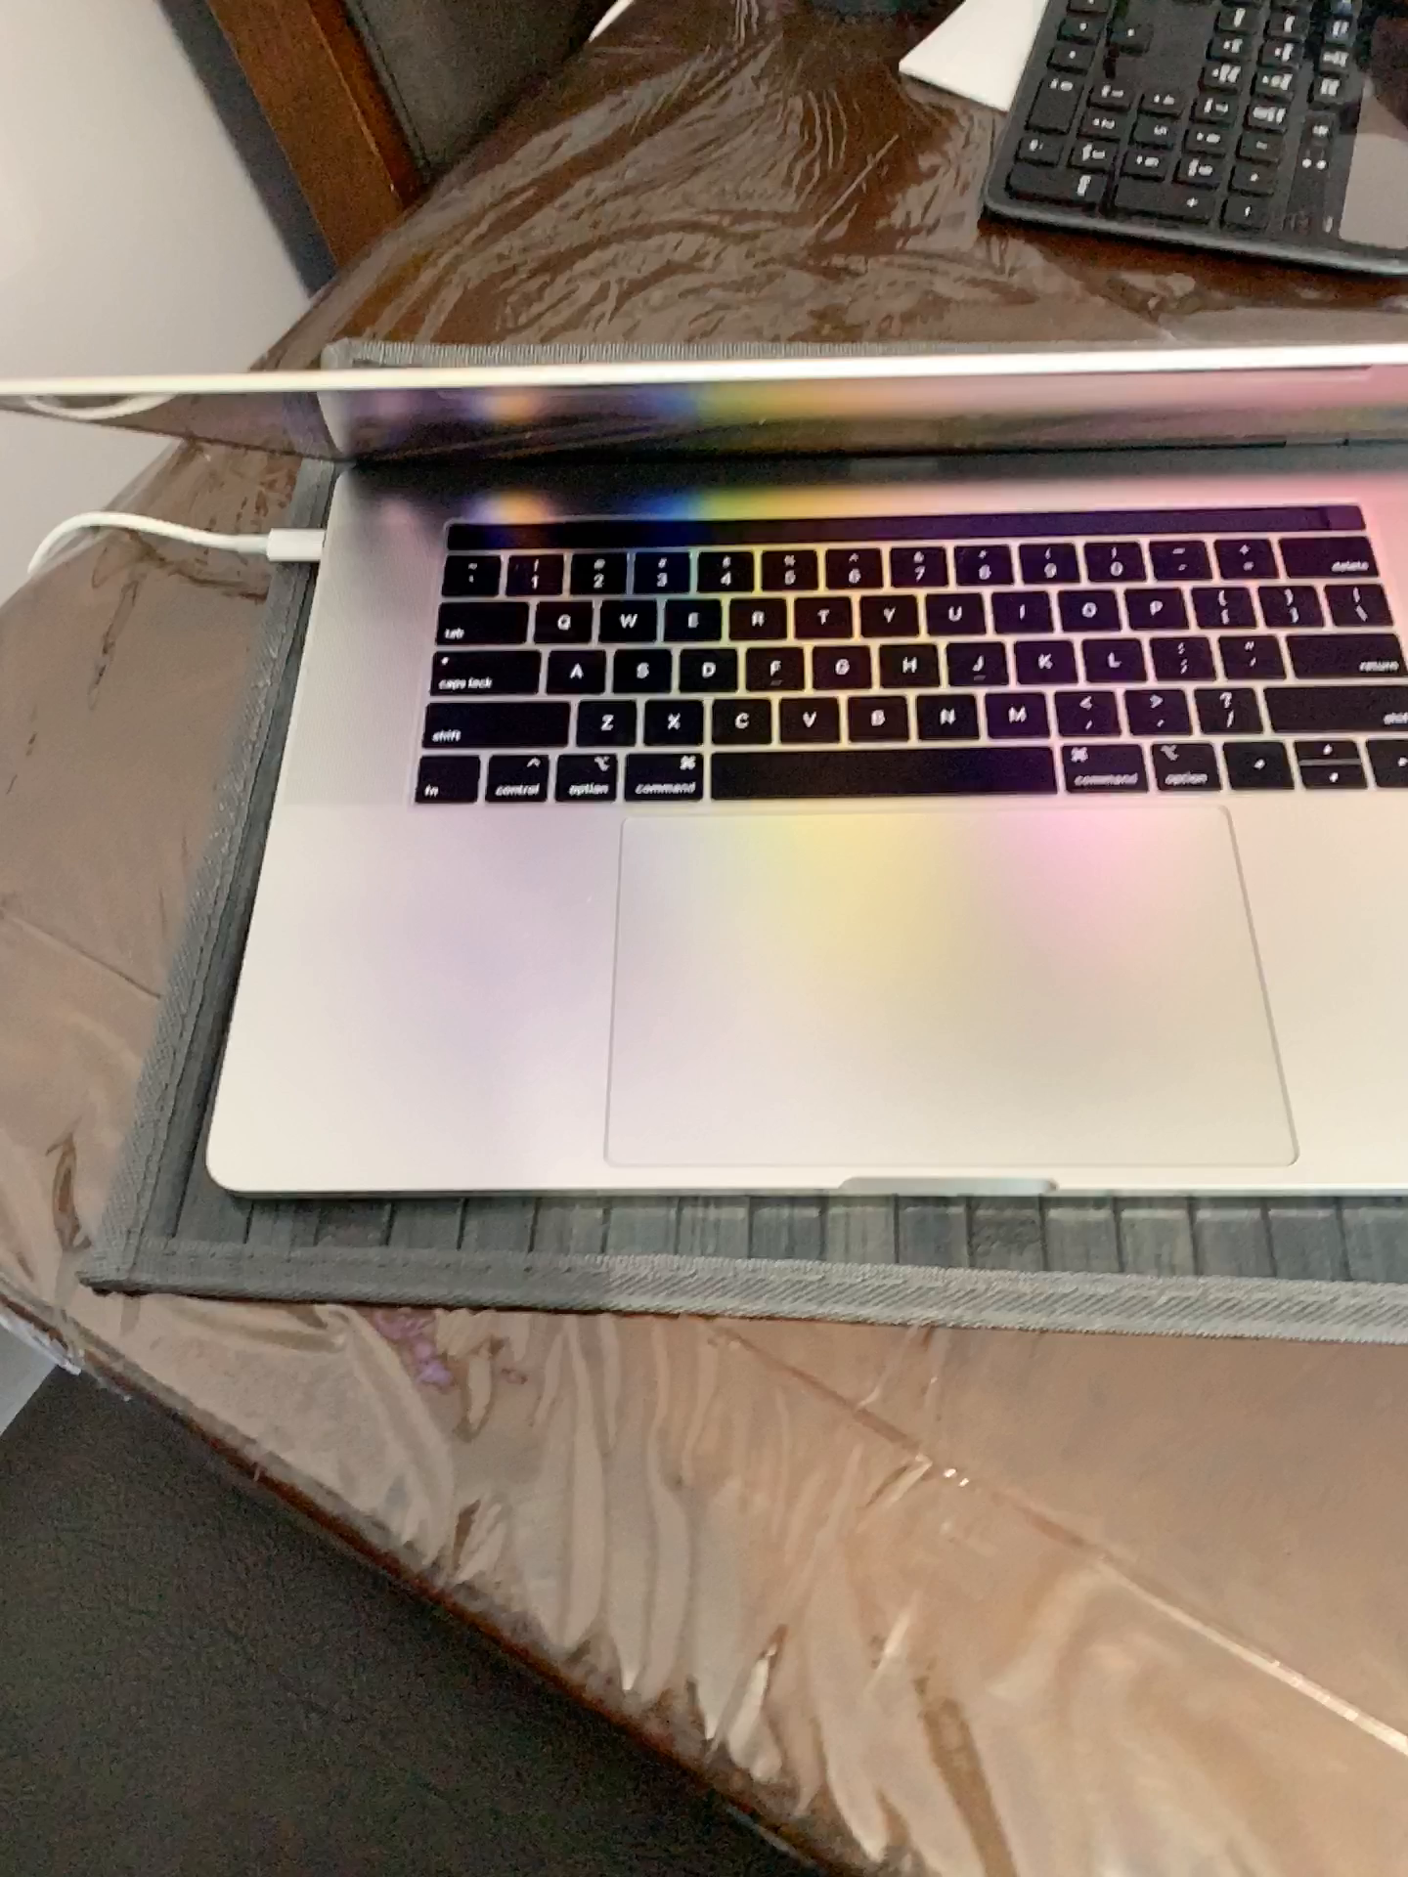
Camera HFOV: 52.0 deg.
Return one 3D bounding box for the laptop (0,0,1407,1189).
[{"bbox_3d":[0.052,-0.086,0.316,0.342,0.166,0.233,0,61,3],"label":"laptop"}]
